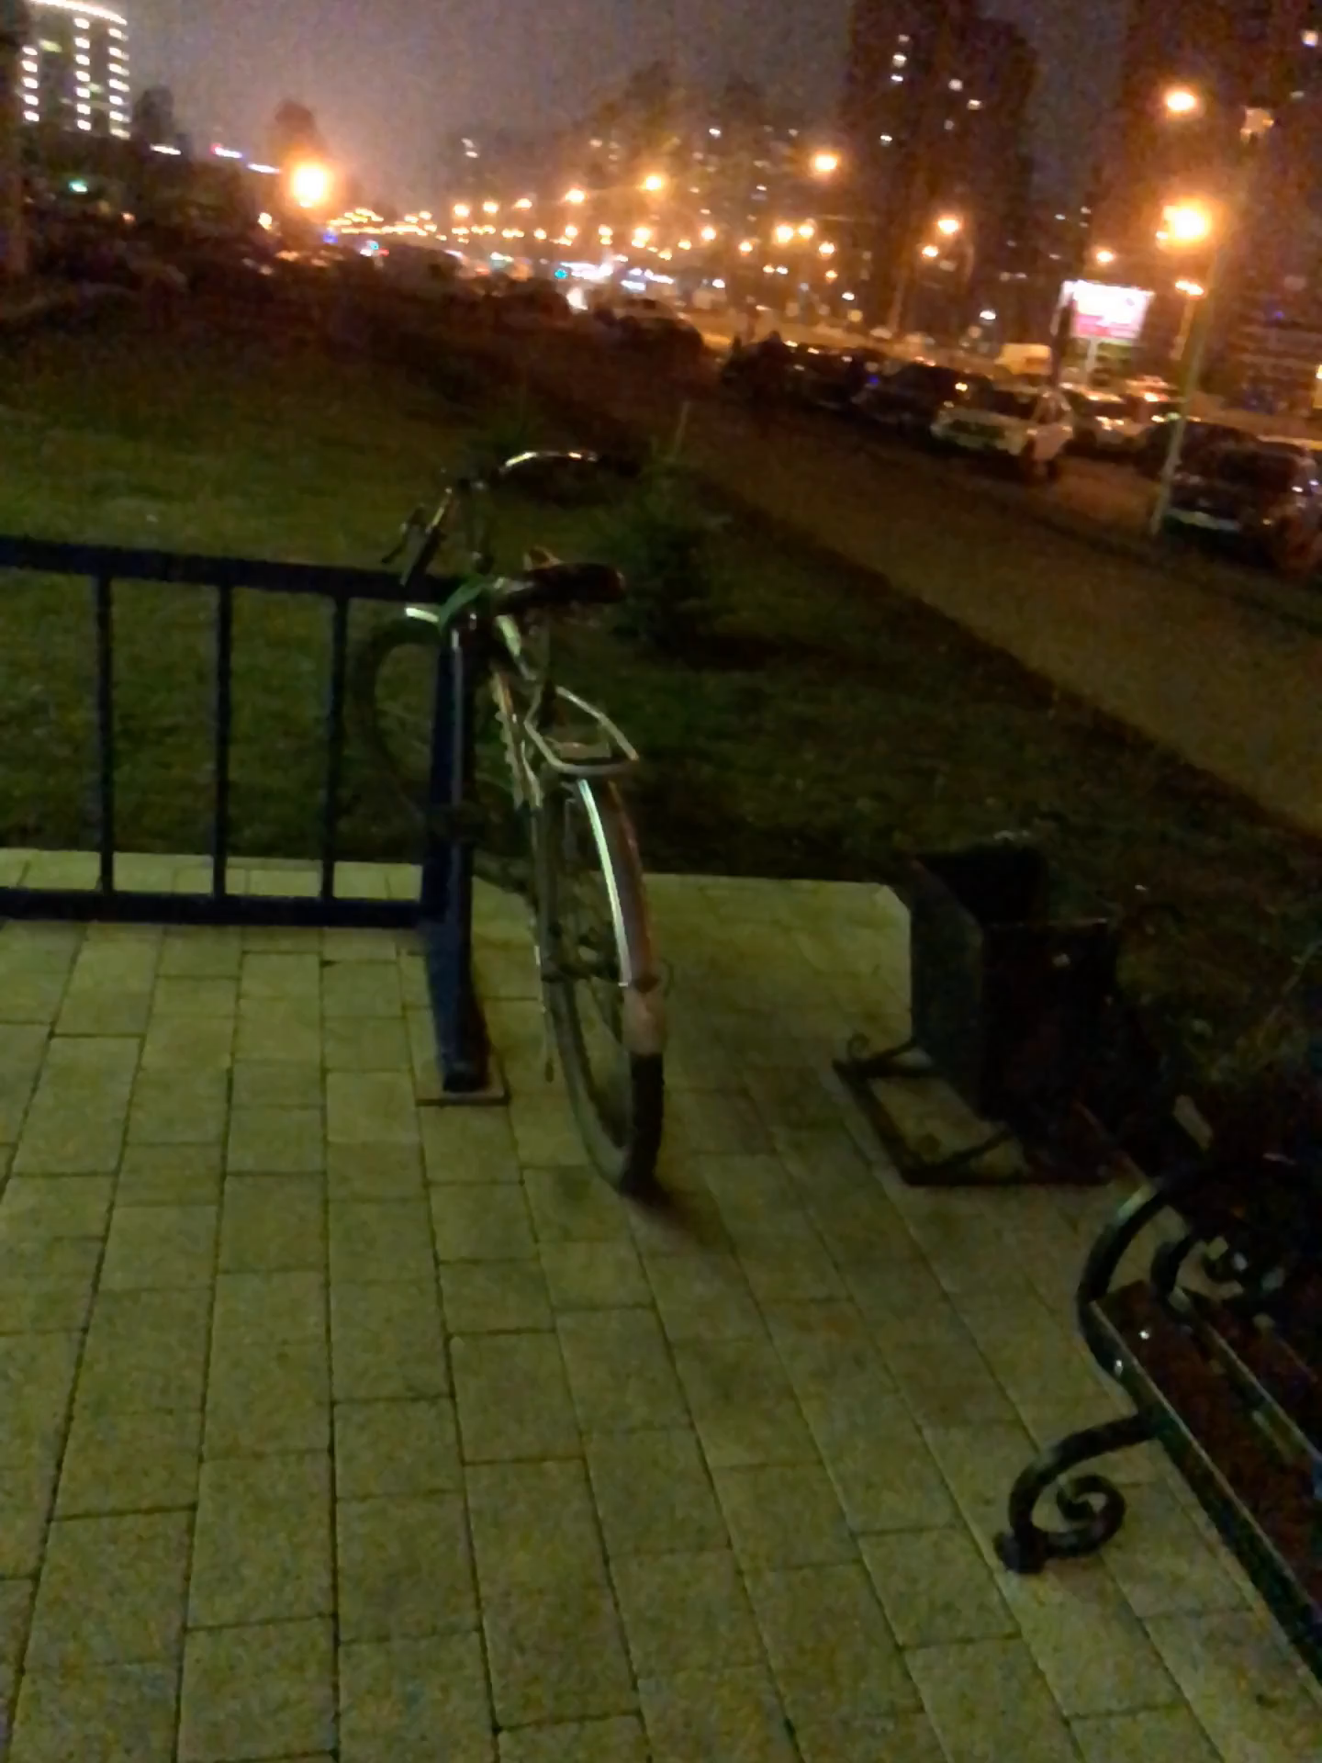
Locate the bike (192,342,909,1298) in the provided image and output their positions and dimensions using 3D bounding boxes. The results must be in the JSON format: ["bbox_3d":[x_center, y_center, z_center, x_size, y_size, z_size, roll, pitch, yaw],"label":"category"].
[{"bbox_3d":[-0.398,-0.278,2.661,0.679,1.047,1.725,-2,27,-24],"label":"bike"}]
